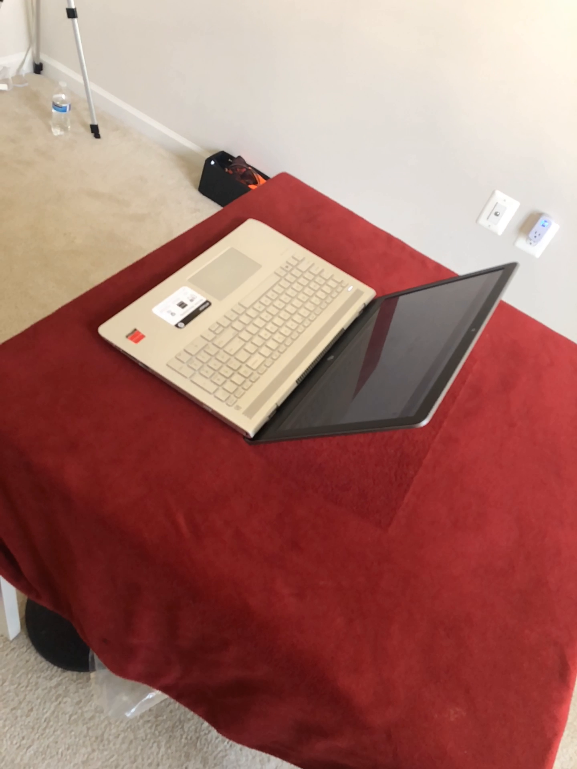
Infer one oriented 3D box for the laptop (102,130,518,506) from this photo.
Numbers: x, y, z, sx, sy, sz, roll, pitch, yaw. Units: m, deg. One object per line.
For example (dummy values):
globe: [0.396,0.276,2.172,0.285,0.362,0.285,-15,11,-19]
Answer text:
laptop: [0.038,-0.117,0.826,0.395,0.158,0.361,33,47,10]
